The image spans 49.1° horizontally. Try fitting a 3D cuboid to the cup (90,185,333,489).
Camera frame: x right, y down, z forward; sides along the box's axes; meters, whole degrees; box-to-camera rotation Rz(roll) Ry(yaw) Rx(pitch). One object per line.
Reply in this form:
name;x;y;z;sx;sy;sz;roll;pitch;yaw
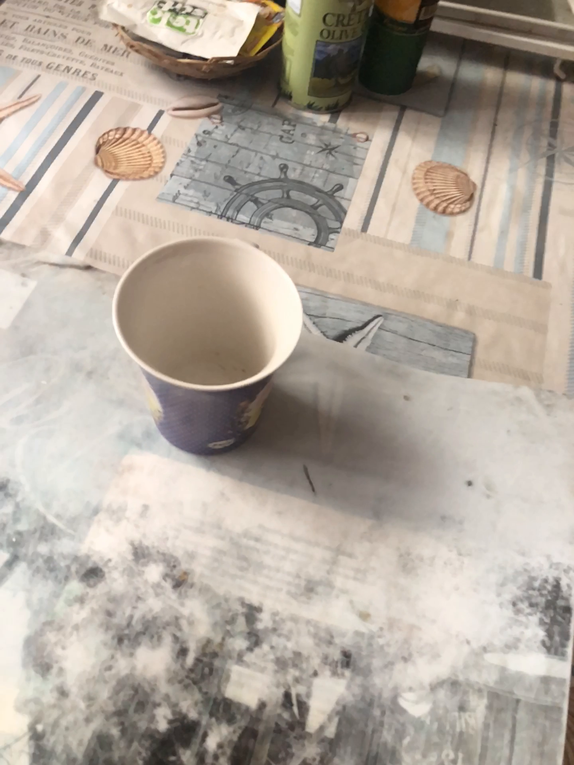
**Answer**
cup;-0.033;-0.023;0.332;0.090;0.085;0.120;10;59;0
